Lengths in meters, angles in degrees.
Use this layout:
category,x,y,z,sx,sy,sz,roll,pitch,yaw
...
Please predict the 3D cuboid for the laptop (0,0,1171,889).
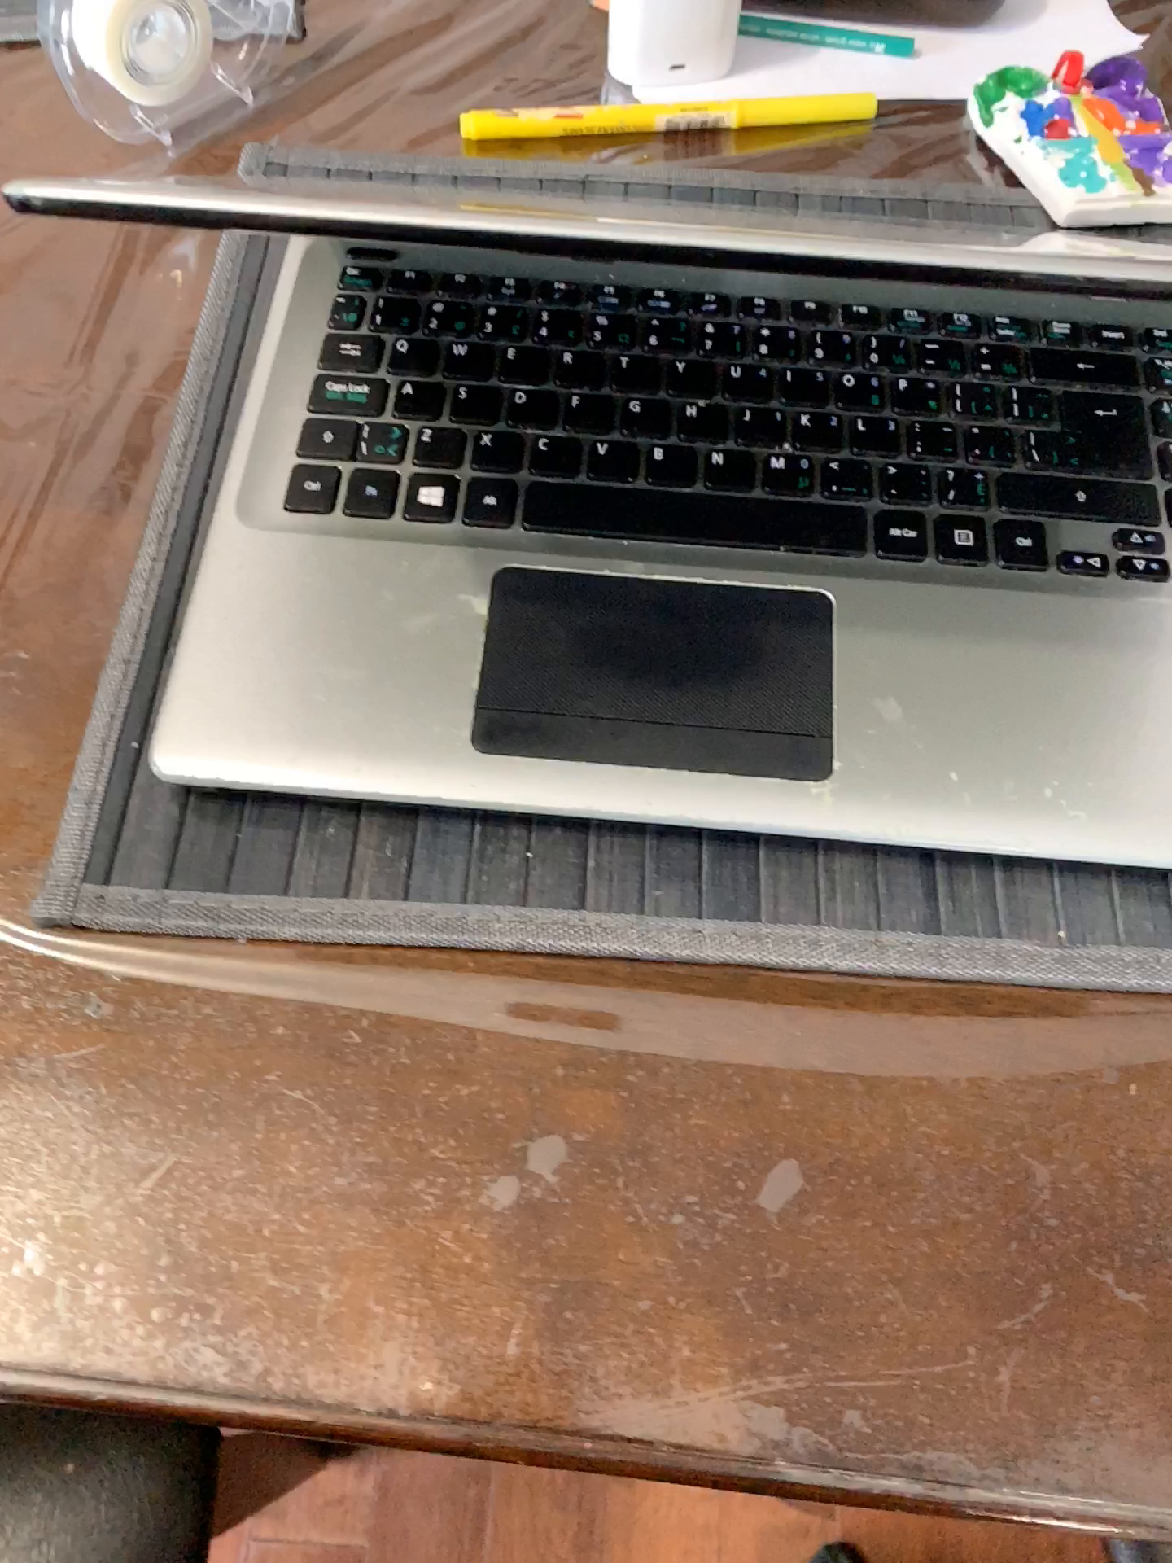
category,x,y,z,sx,sy,sz,roll,pitch,yaw
laptop,0.056,-0.123,0.329,0.344,0.145,0.236,5,64,1
